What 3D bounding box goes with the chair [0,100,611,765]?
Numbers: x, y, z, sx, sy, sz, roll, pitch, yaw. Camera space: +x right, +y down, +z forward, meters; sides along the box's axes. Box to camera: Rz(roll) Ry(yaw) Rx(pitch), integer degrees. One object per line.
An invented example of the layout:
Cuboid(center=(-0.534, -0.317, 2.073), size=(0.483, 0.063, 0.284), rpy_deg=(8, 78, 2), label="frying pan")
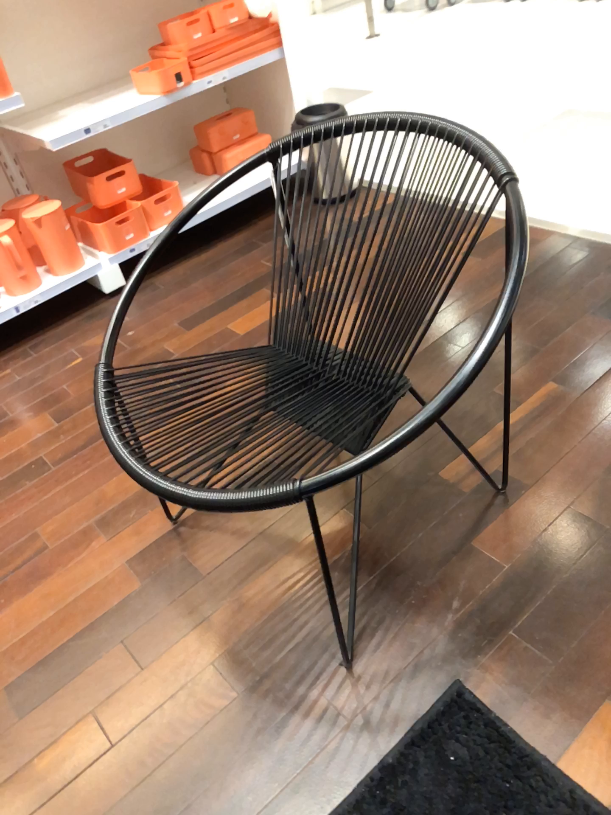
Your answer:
Cuboid(center=(0.017, -0.058, 1.181), size=(0.732, 0.675, 0.704), rpy_deg=(-36, 41, -27), label="chair")
